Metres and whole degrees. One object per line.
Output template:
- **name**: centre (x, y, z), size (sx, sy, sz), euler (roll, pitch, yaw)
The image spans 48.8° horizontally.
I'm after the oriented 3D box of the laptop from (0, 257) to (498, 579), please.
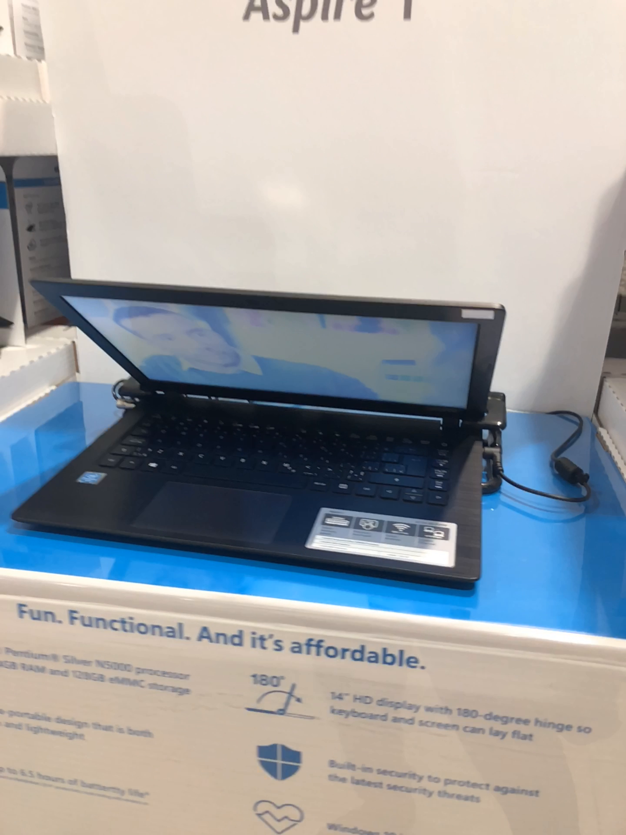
- **laptop**: centre (-0.034, -0.024, 0.546), size (0.333, 0.145, 0.207), euler (6, 24, 13)
